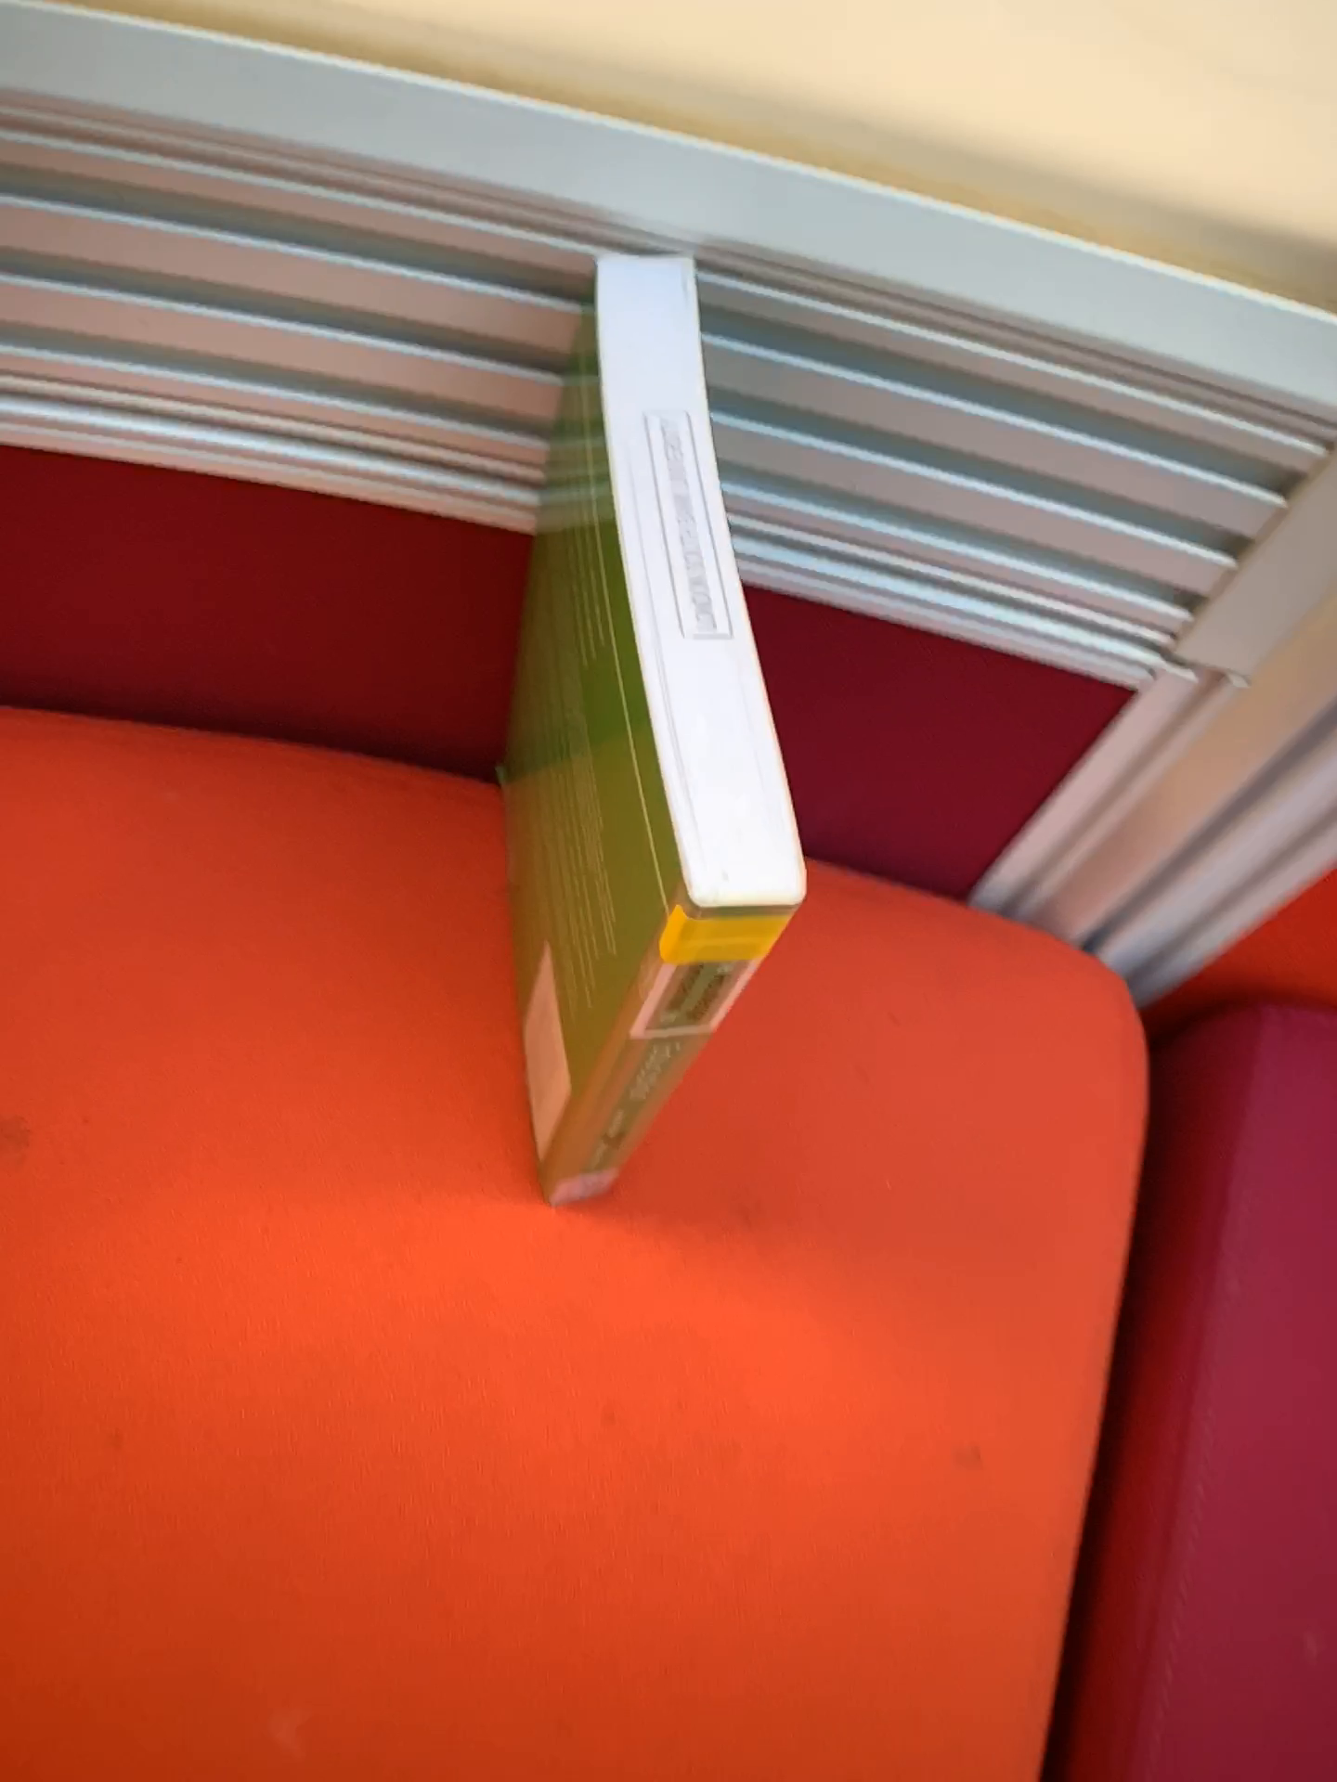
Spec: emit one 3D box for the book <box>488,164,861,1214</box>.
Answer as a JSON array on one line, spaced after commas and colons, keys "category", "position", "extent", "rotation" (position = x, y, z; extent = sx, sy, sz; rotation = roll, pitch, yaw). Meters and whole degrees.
[{"category": "book", "position": [-0.019, -0.032, 0.420], "extent": [0.040, 0.268, 0.201], "rotation": [-1, 65, -13]}]
